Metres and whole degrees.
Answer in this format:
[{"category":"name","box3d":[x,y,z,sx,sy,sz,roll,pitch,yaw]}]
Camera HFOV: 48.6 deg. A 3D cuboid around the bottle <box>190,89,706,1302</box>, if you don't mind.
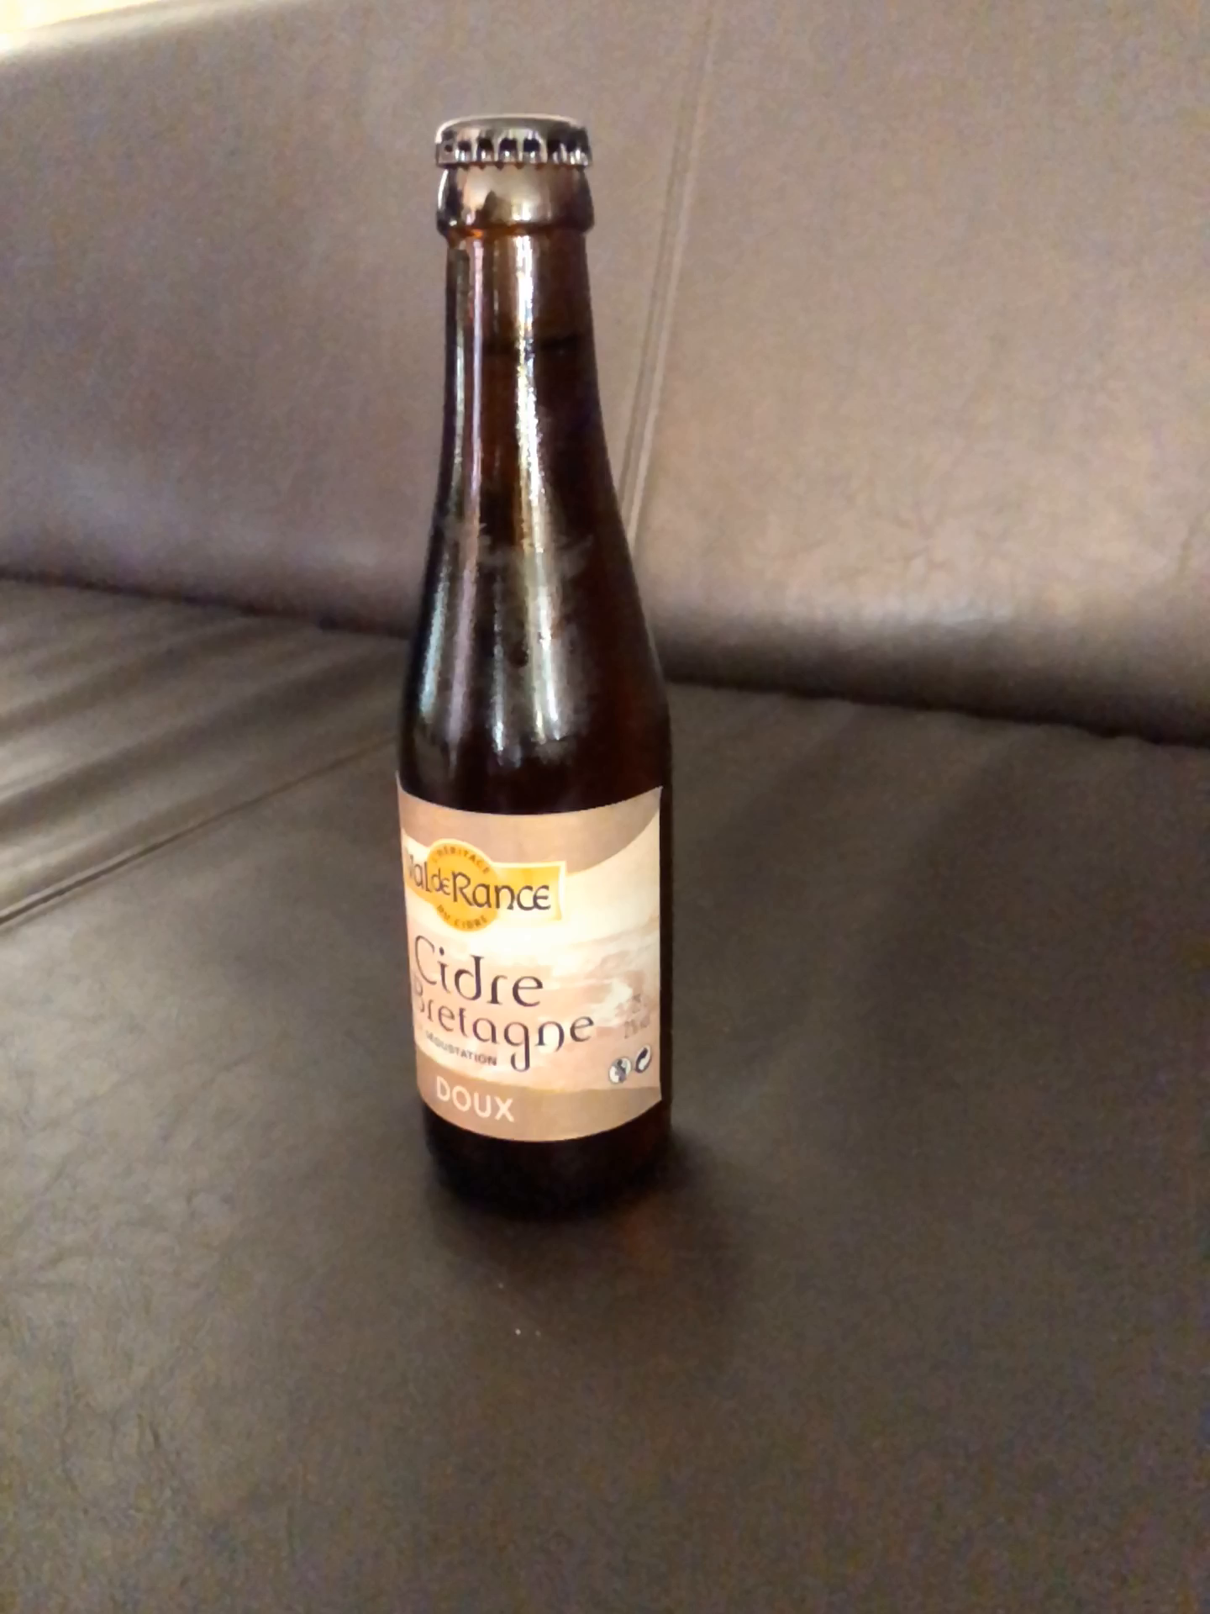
[{"category":"bottle","box3d":[-0.023,-0.017,0.264,0.060,0.209,0.060,-2,20,1]}]
